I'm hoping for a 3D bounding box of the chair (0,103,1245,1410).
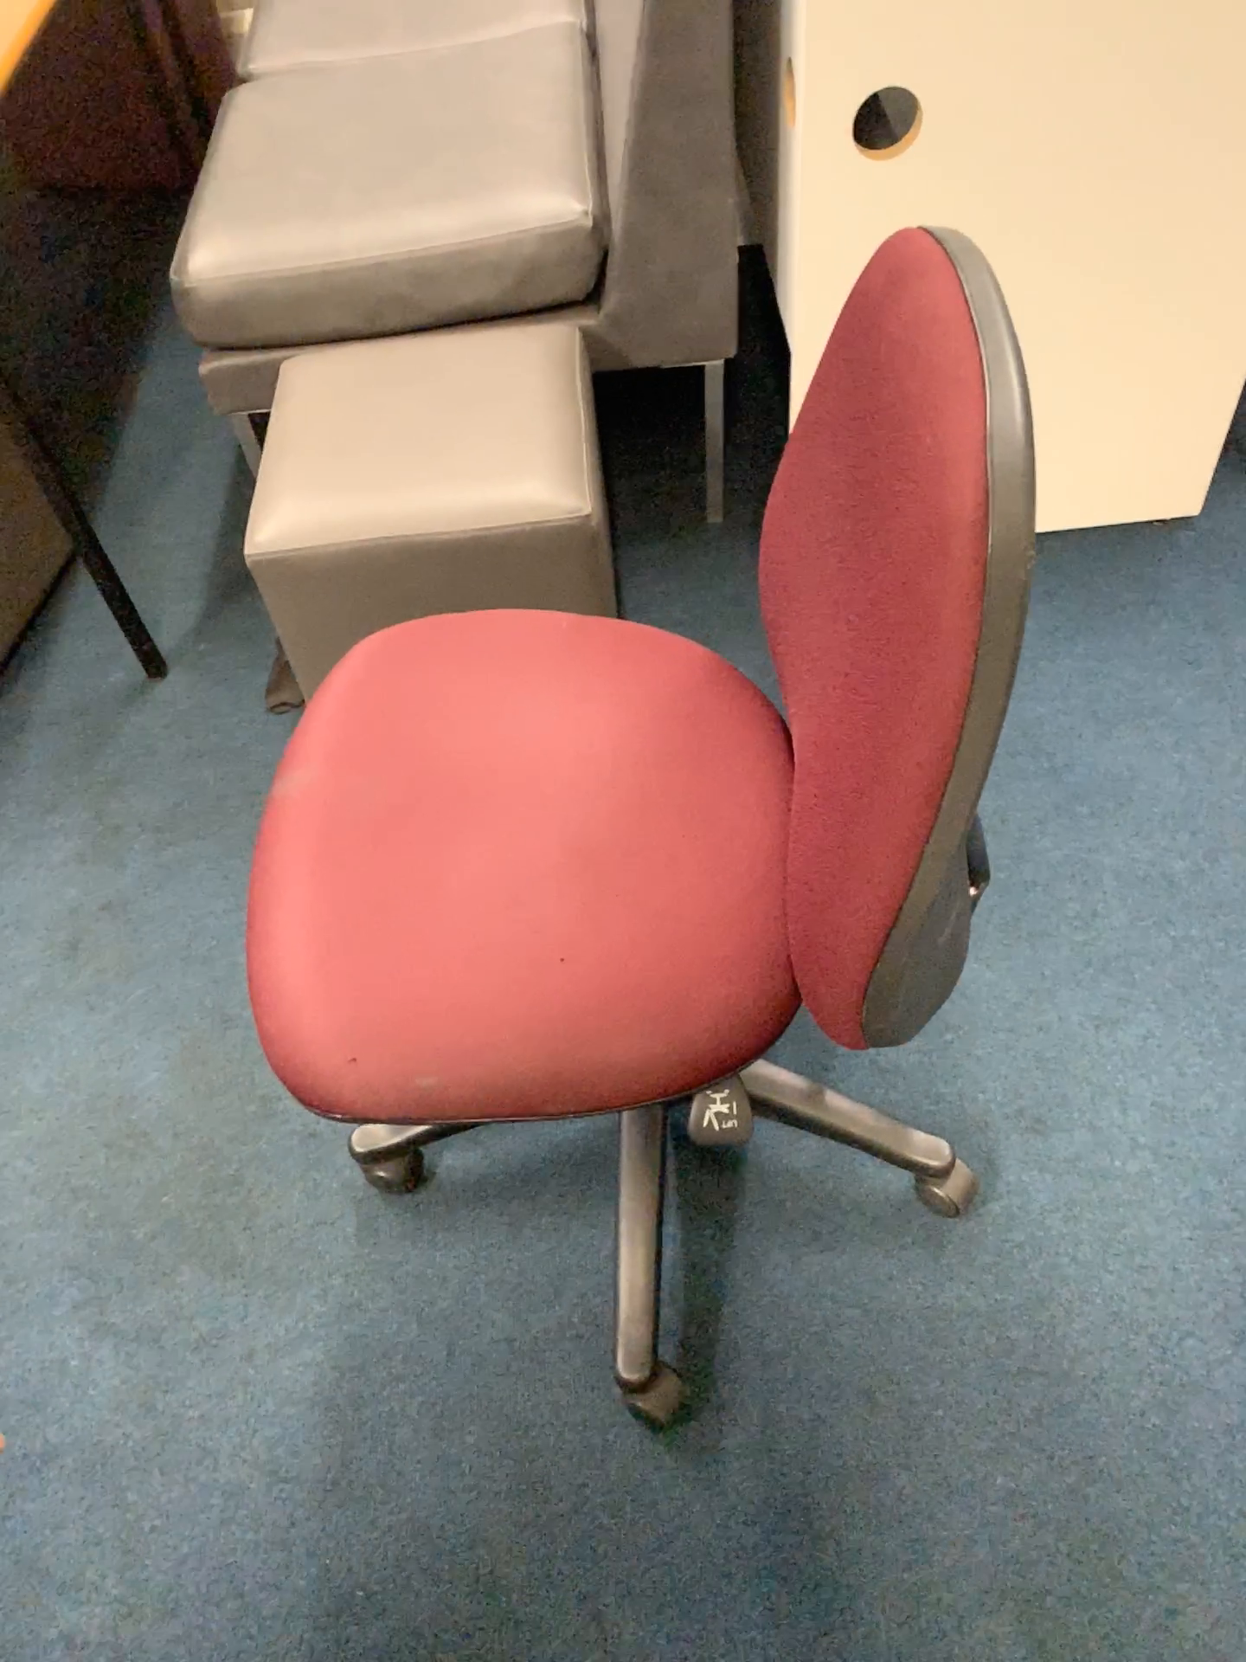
[{"bbox_3d":[0.004,0.008,1.010,0.690,0.783,0.656,-2,52,5],"label":"chair"}]
